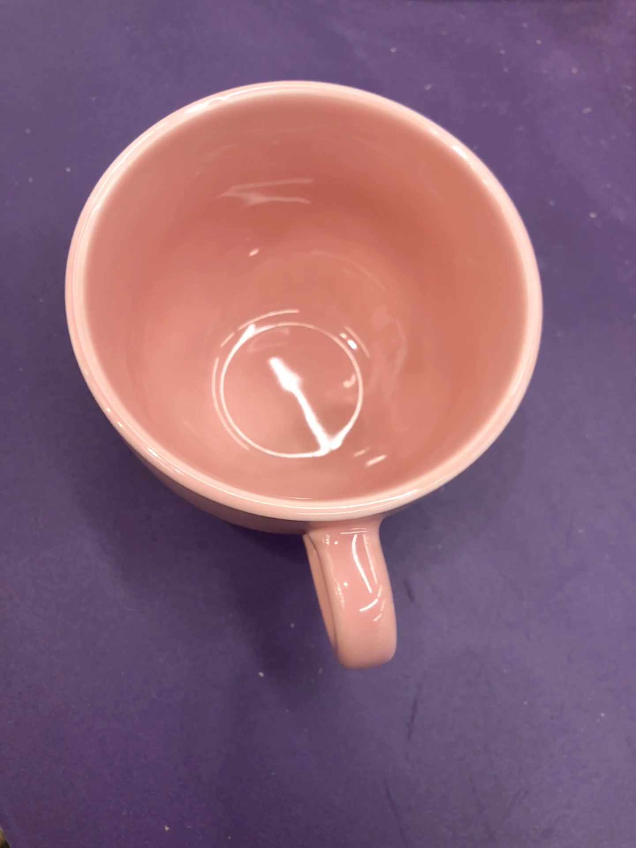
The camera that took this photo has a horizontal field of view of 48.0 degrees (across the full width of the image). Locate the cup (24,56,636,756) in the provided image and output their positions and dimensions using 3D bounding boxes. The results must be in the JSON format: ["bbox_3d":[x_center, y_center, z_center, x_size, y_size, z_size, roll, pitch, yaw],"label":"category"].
[{"bbox_3d":[-0.002,-0.008,0.183,0.110,0.060,0.140,-11,75,-8],"label":"cup"}]
